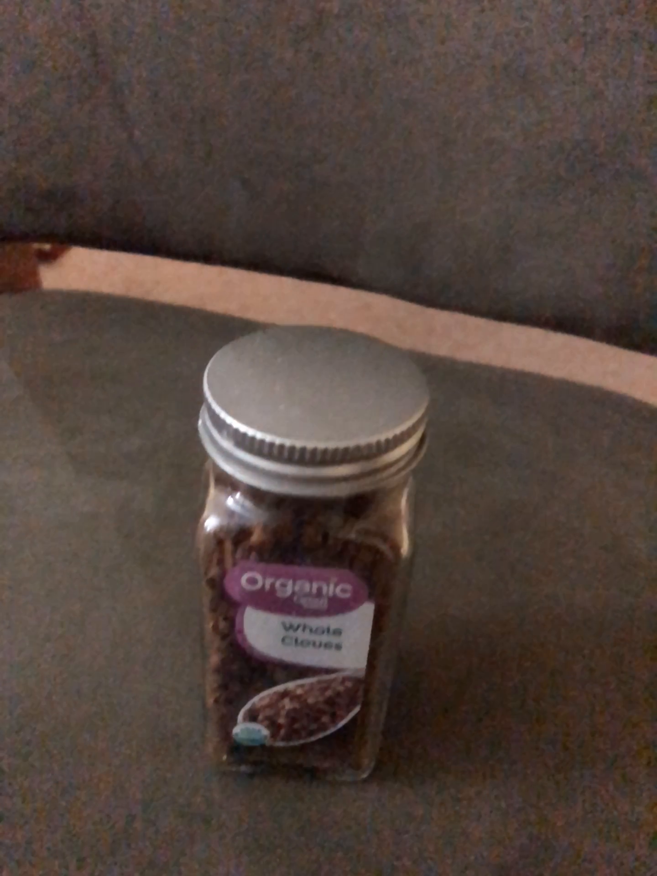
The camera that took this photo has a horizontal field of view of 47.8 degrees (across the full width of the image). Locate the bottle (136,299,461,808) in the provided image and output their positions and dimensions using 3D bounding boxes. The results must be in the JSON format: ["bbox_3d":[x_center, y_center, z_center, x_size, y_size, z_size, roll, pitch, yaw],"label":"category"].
[{"bbox_3d":[-0.005,0.028,0.163,0.050,0.100,0.050,2,37,-2],"label":"bottle"}]
